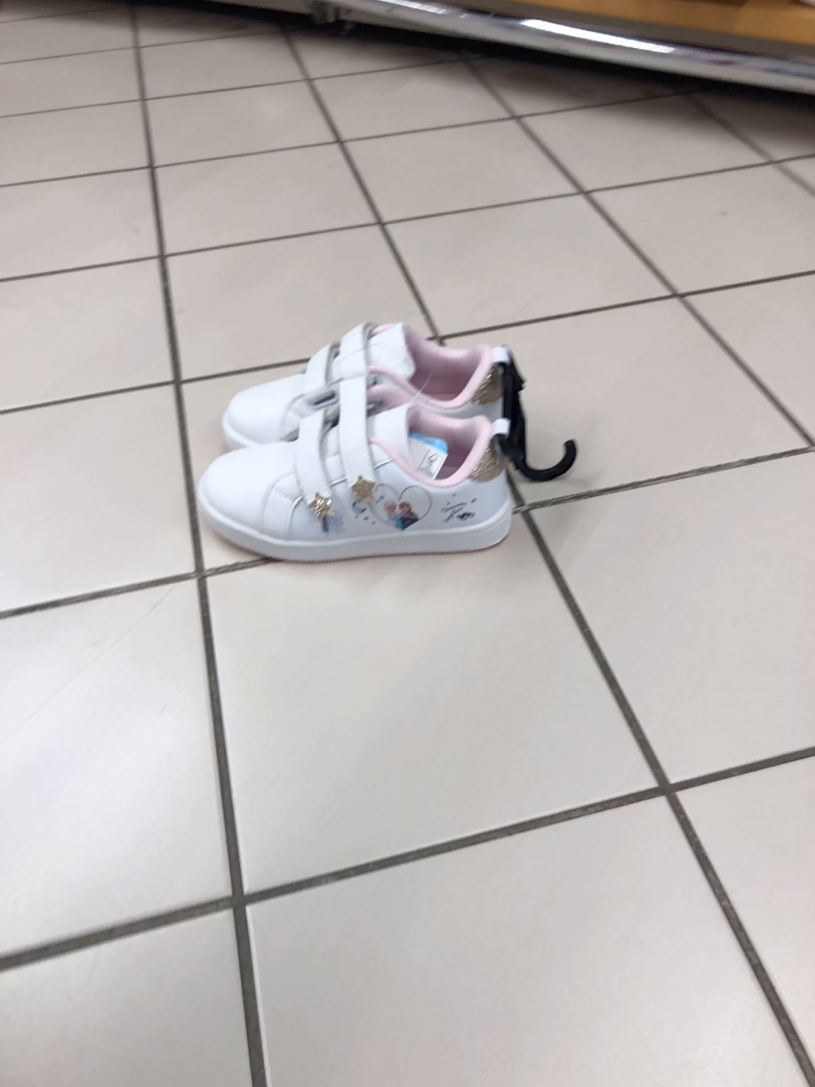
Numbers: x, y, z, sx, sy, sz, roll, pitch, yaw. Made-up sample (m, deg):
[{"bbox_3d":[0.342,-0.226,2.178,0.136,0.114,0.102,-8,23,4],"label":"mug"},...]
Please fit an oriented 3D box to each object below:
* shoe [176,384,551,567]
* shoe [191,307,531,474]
[{"bbox_3d":[-0.021,-0.040,0.530,0.200,0.070,0.080,0,45,3],"label":"shoe"},{"bbox_3d":[-0.025,-0.098,0.580,0.200,0.070,0.080,0,45,3],"label":"shoe"}]
